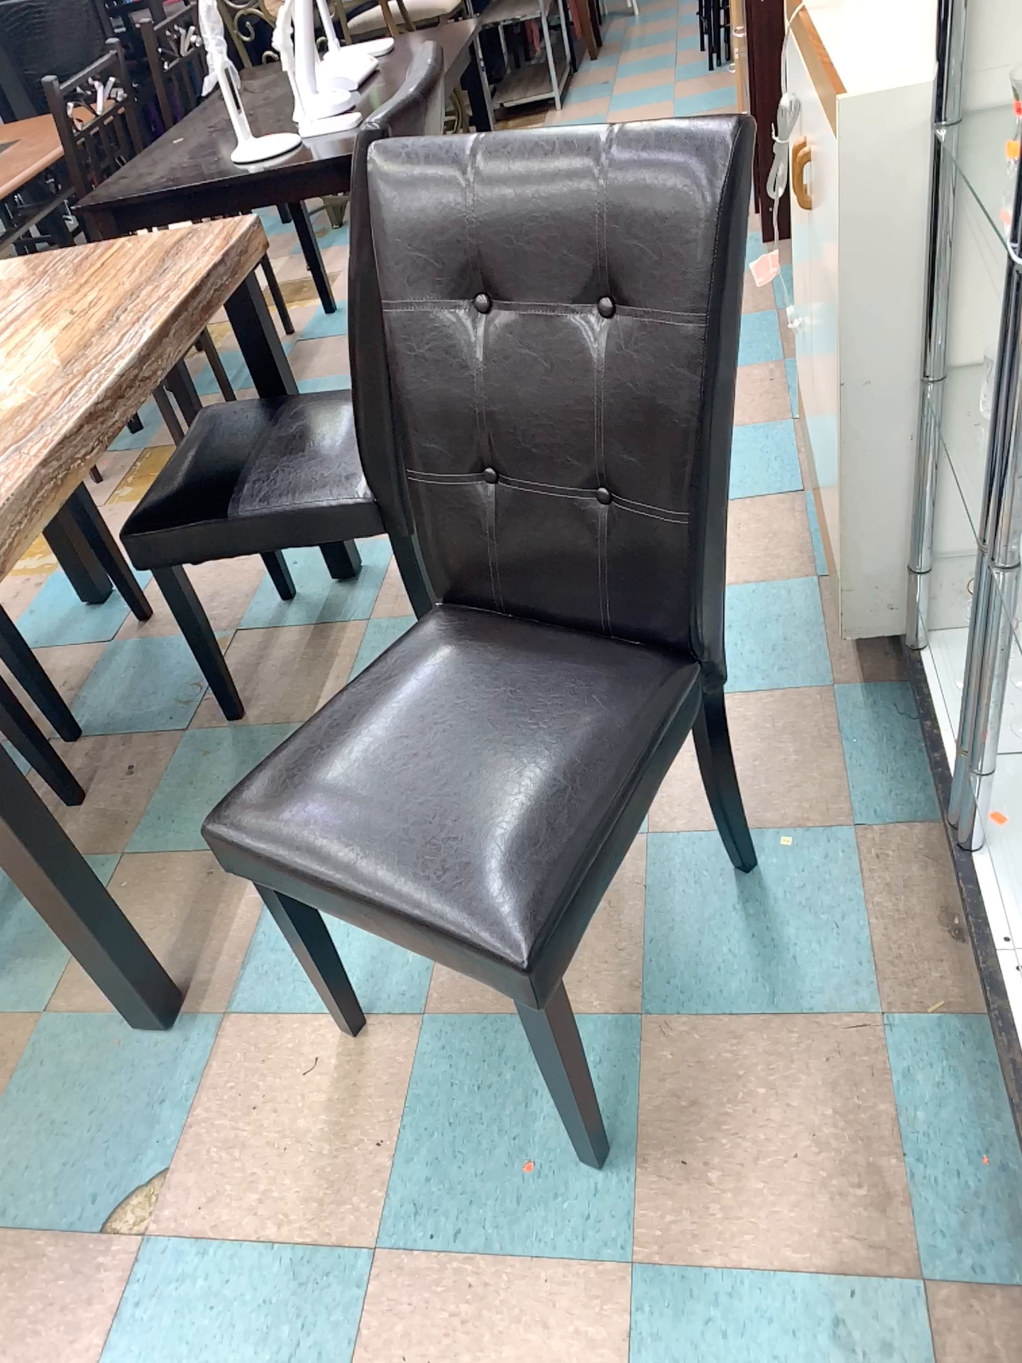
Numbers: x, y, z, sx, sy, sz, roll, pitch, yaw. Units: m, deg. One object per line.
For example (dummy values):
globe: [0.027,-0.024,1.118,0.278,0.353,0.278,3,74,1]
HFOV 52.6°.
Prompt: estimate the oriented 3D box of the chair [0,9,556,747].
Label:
chair: [-0.341,-0.490,1.817,0.650,0.955,0.673,-6,41,11]

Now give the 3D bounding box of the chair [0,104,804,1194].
chair: [-0.024,-0.008,1.149,0.471,0.955,0.572,15,49,32]
